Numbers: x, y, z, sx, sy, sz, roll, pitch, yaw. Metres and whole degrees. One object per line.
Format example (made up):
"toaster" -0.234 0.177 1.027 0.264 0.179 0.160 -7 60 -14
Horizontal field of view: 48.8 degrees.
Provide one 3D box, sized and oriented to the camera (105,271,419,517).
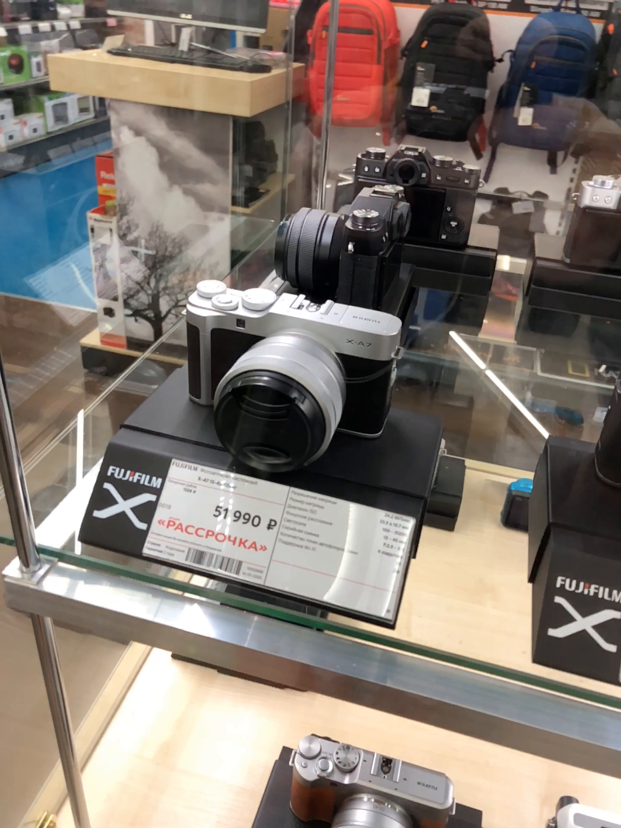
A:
"camera" -0.021 -0.017 0.366 0.133 0.066 0.101 12 34 12
